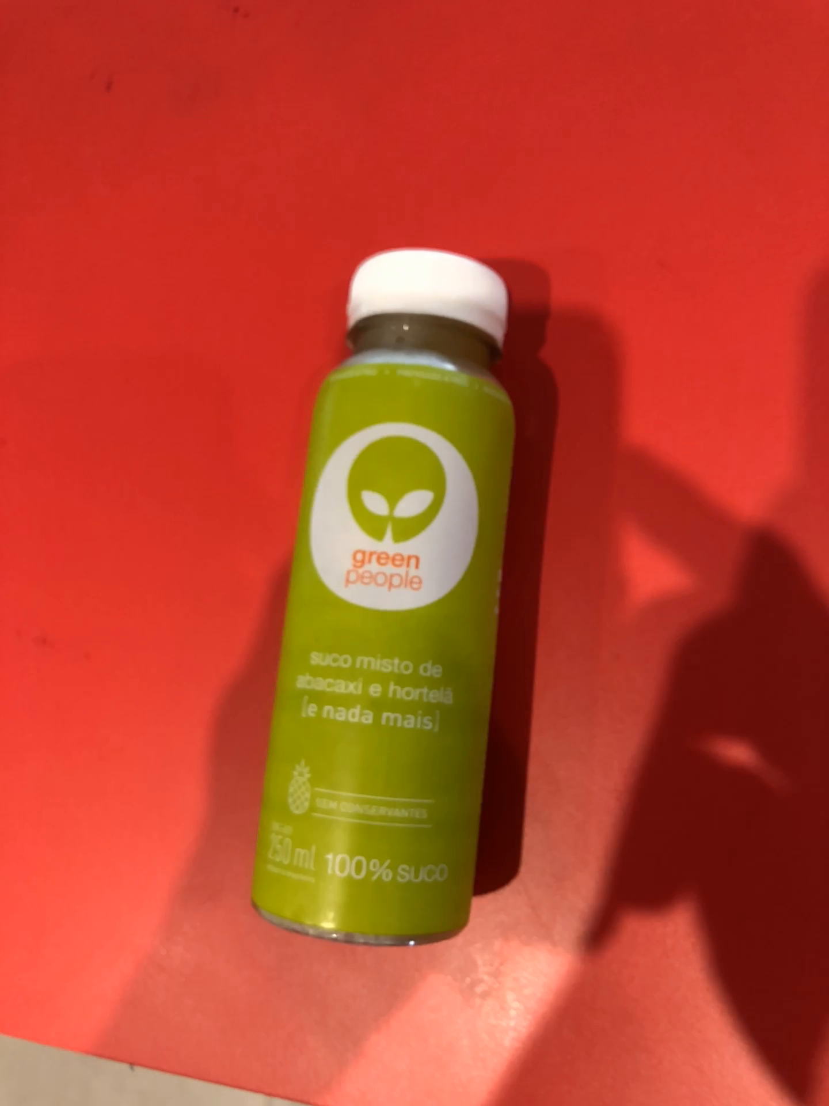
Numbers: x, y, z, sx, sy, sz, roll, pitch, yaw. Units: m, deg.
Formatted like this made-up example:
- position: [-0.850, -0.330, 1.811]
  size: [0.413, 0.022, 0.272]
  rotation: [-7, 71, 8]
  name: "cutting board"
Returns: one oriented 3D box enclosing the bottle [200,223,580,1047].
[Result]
- position: [-0.003, 0.016, 0.227]
  size: [0.060, 0.050, 0.170]
  rotation: [8, 89, 5]
  name: "bottle"
